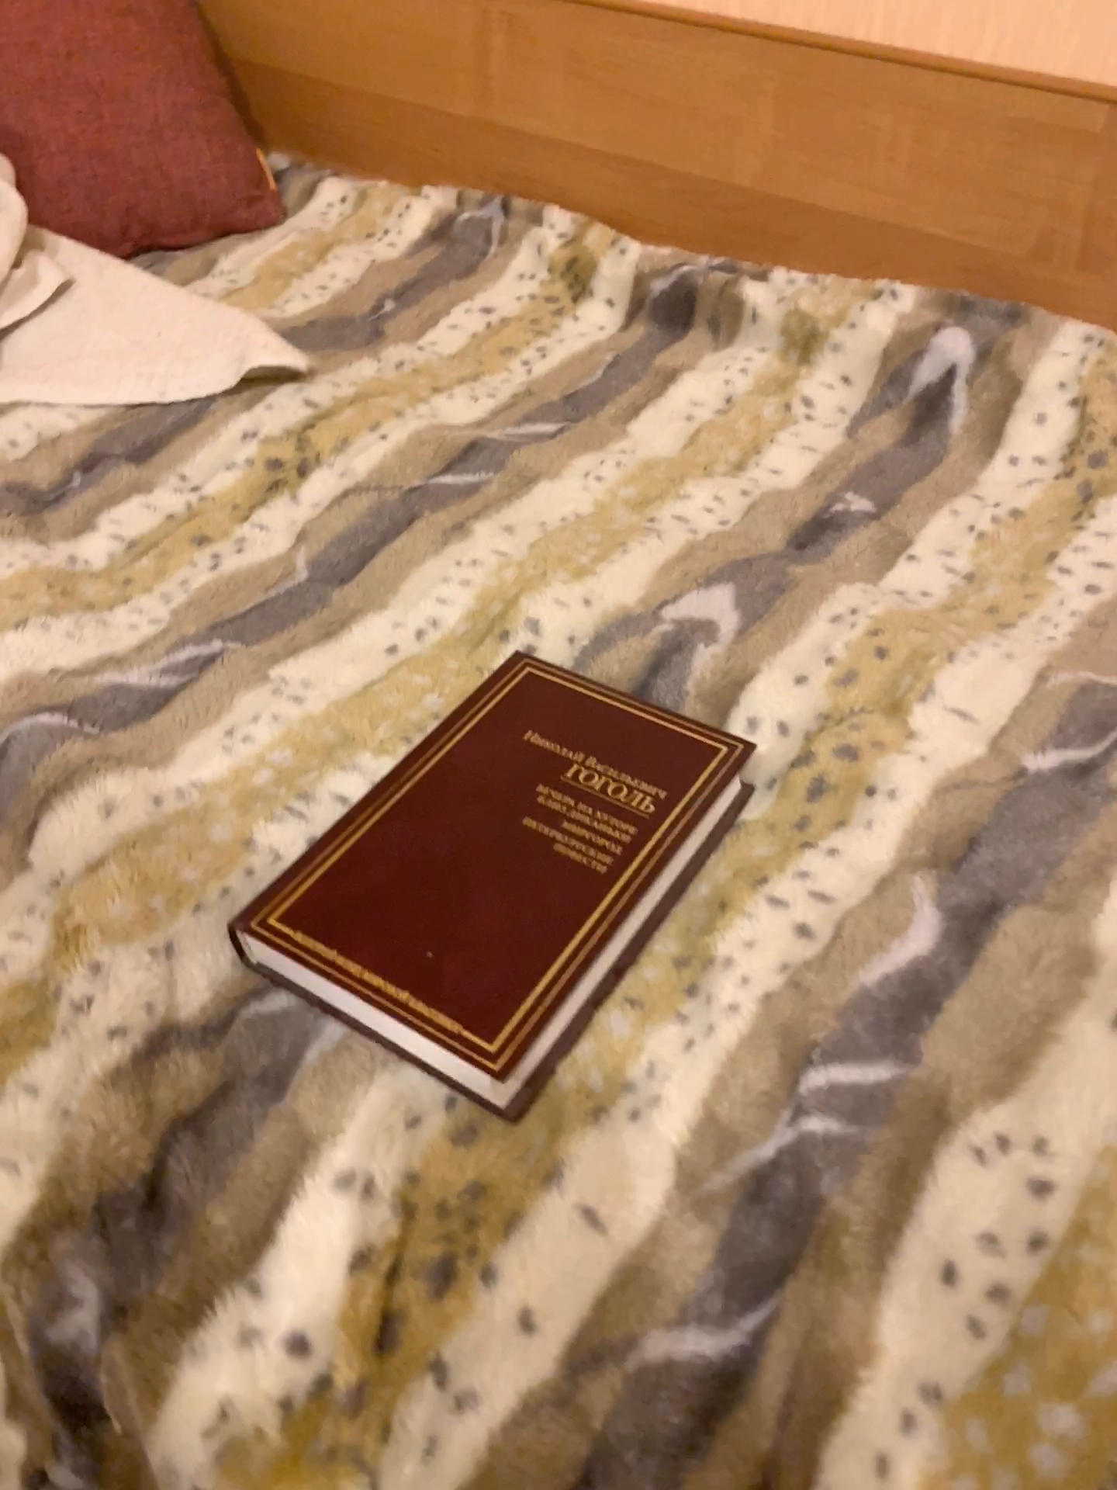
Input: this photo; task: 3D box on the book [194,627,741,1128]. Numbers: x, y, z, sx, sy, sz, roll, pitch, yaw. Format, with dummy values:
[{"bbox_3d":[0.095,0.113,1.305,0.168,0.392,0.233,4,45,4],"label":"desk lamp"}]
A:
[{"bbox_3d":[-0.032,0.043,0.515,0.149,0.040,0.211,23,51,24],"label":"book"}]
